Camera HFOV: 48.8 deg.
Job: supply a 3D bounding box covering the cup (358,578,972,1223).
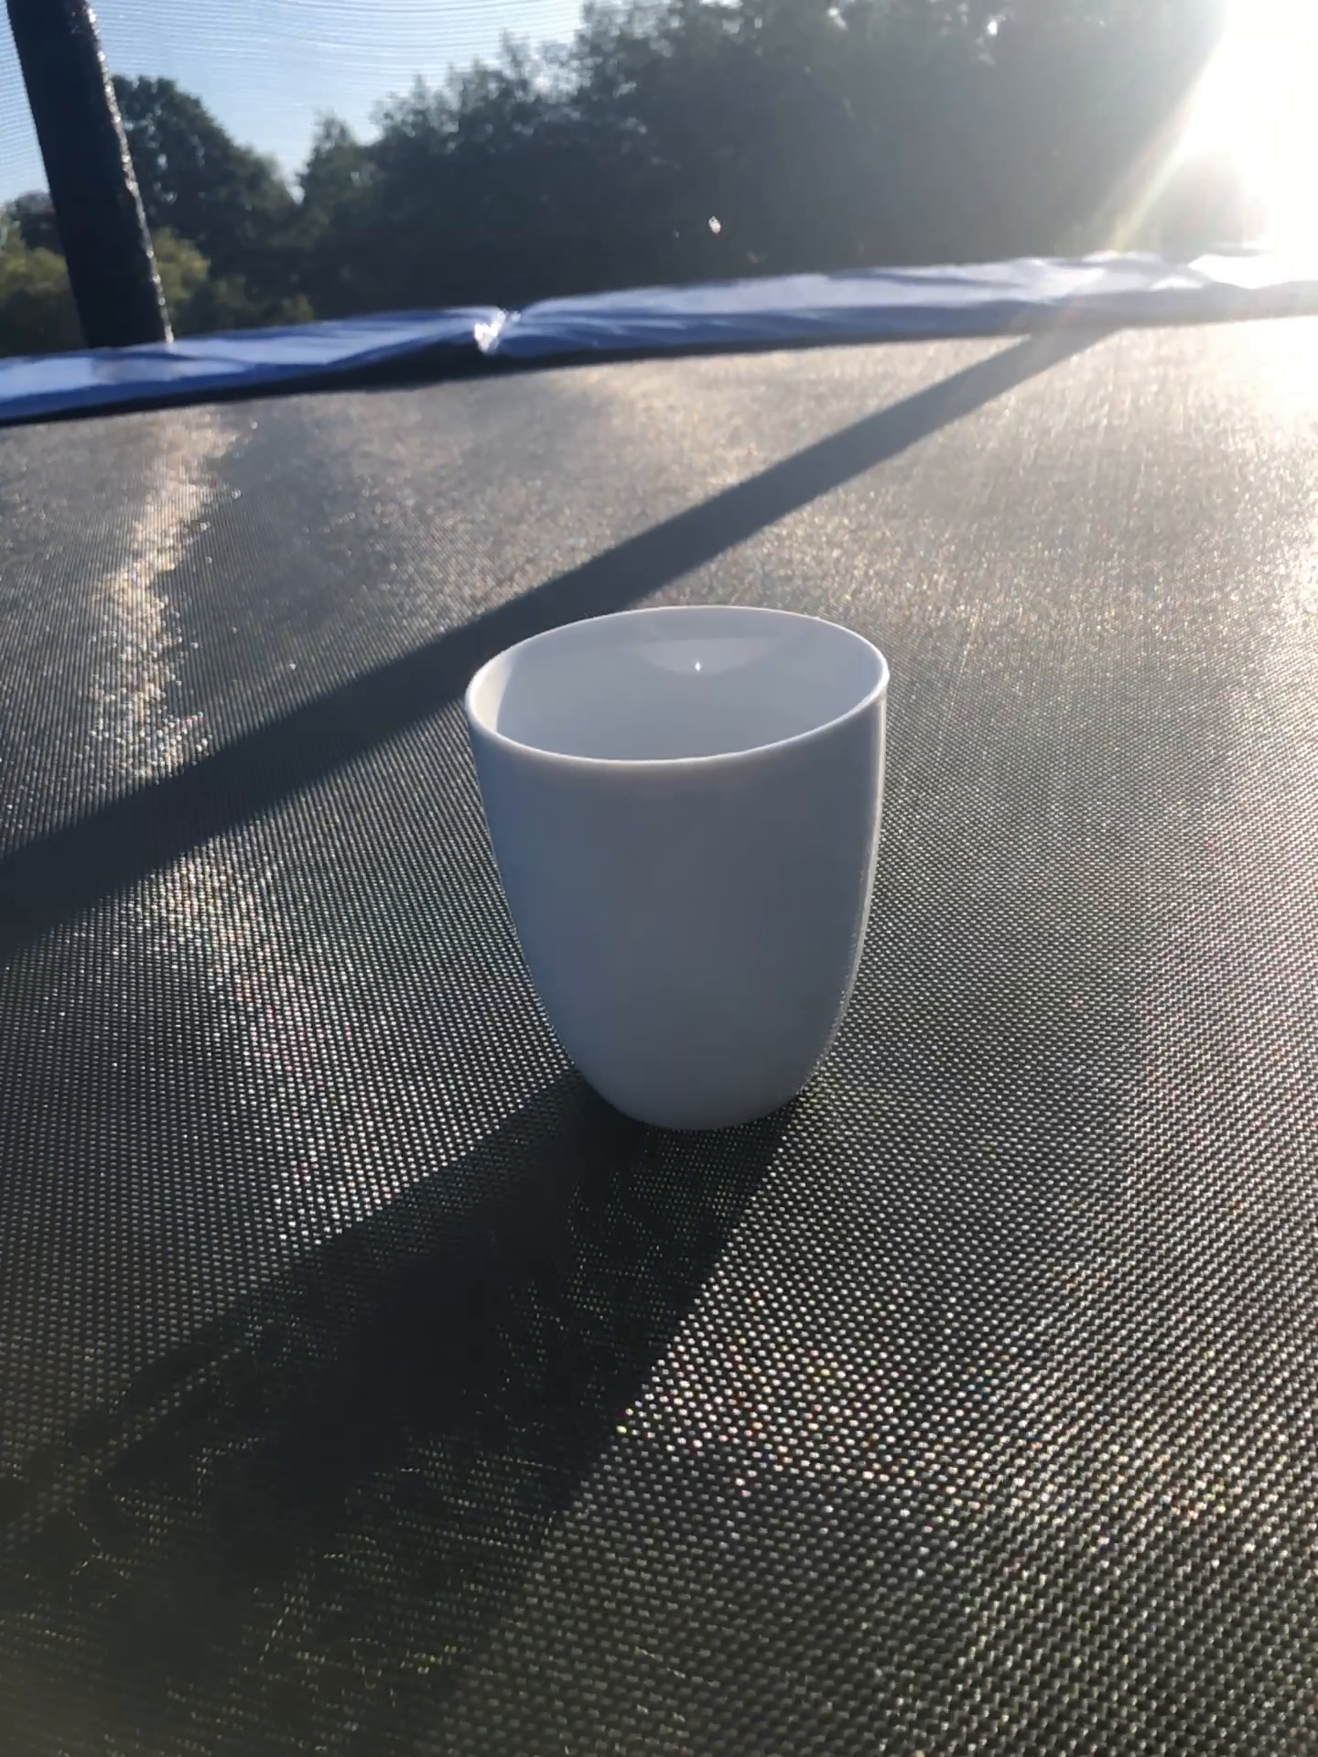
[{"bbox_3d":[-0.005,-0.004,0.323,0.100,0.089,0.110,-9,27,-15],"label":"cup"}]
